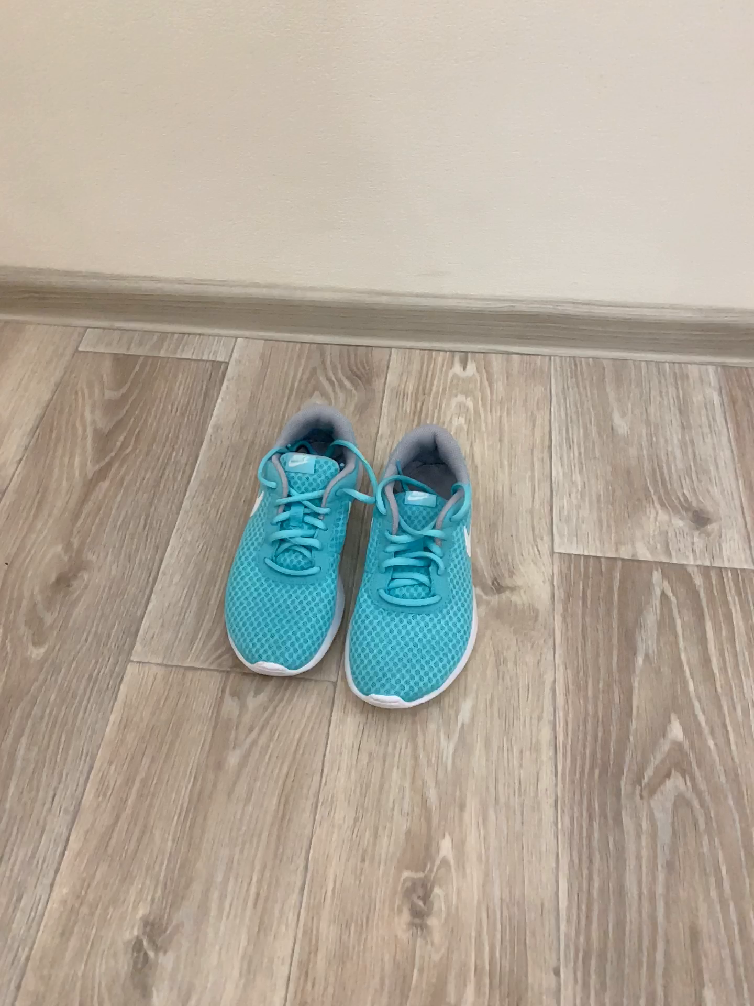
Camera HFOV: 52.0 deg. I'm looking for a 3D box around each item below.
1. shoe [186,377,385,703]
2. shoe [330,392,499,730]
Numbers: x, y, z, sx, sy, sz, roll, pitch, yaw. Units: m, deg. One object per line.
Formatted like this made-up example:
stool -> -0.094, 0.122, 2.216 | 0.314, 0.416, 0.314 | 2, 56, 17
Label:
shoe -> -0.062, 0.021, 0.636 | 0.101, 0.090, 0.251 | 6, 54, 6
shoe -> 0.037, 0.037, 0.618 | 0.098, 0.090, 0.251 | 6, 54, 6
